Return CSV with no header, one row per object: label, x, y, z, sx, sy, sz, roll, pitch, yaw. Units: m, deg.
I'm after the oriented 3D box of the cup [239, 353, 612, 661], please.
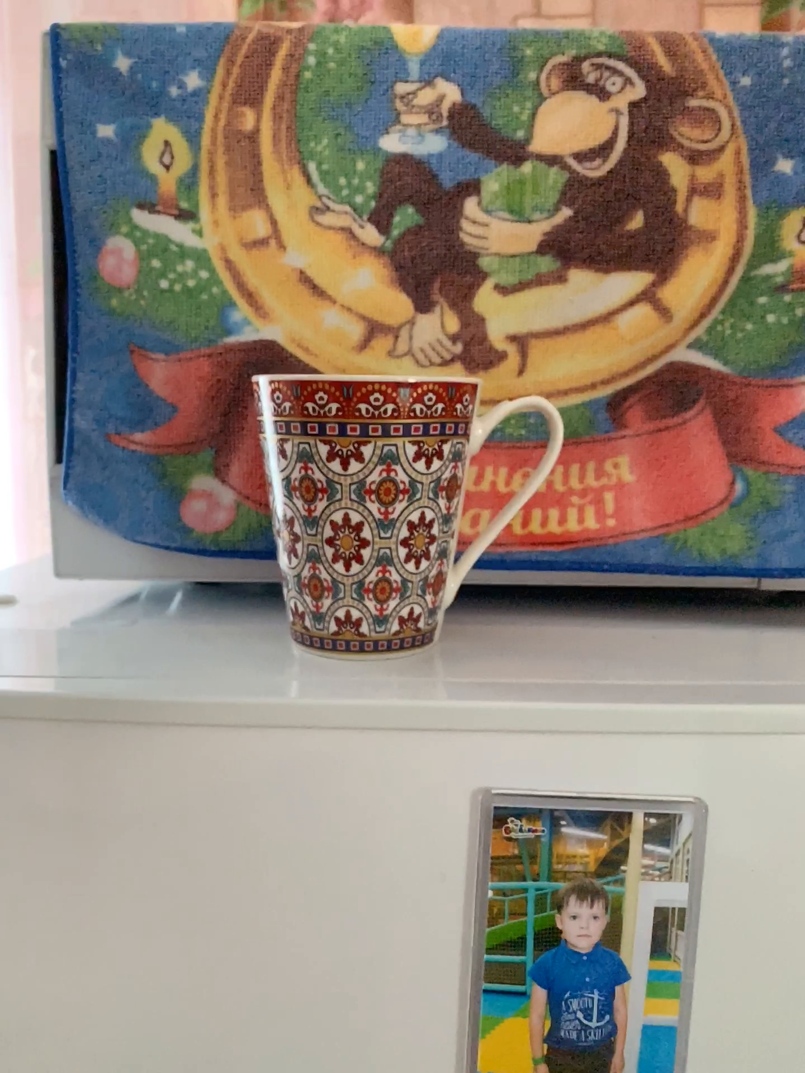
cup,0.004,-0.015,0.327,0.124,0.101,0.089,0,7,-6
